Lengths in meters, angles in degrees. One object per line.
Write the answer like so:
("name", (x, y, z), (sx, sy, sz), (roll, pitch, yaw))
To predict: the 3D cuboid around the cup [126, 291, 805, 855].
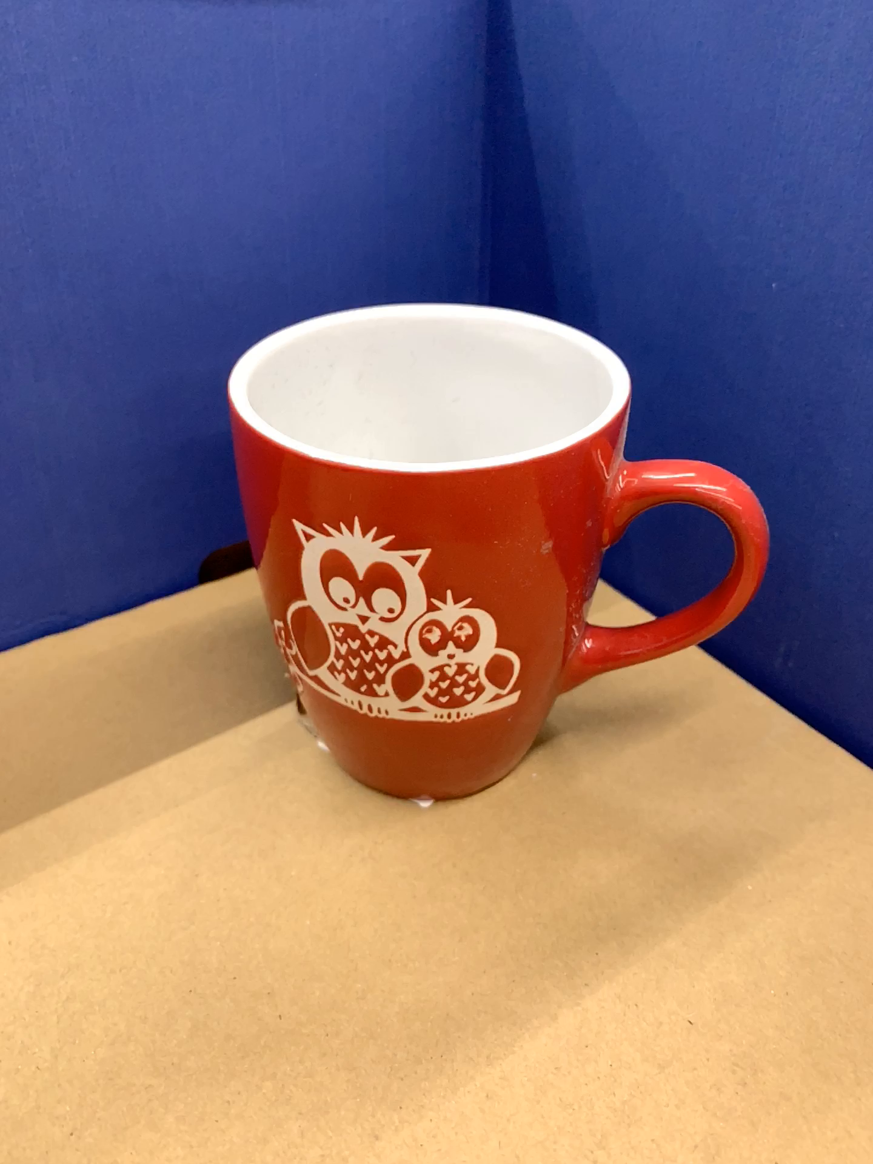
("cup", (0.009, -0.010, 0.227), (0.120, 0.091, 0.100), (5, 33, 6))
